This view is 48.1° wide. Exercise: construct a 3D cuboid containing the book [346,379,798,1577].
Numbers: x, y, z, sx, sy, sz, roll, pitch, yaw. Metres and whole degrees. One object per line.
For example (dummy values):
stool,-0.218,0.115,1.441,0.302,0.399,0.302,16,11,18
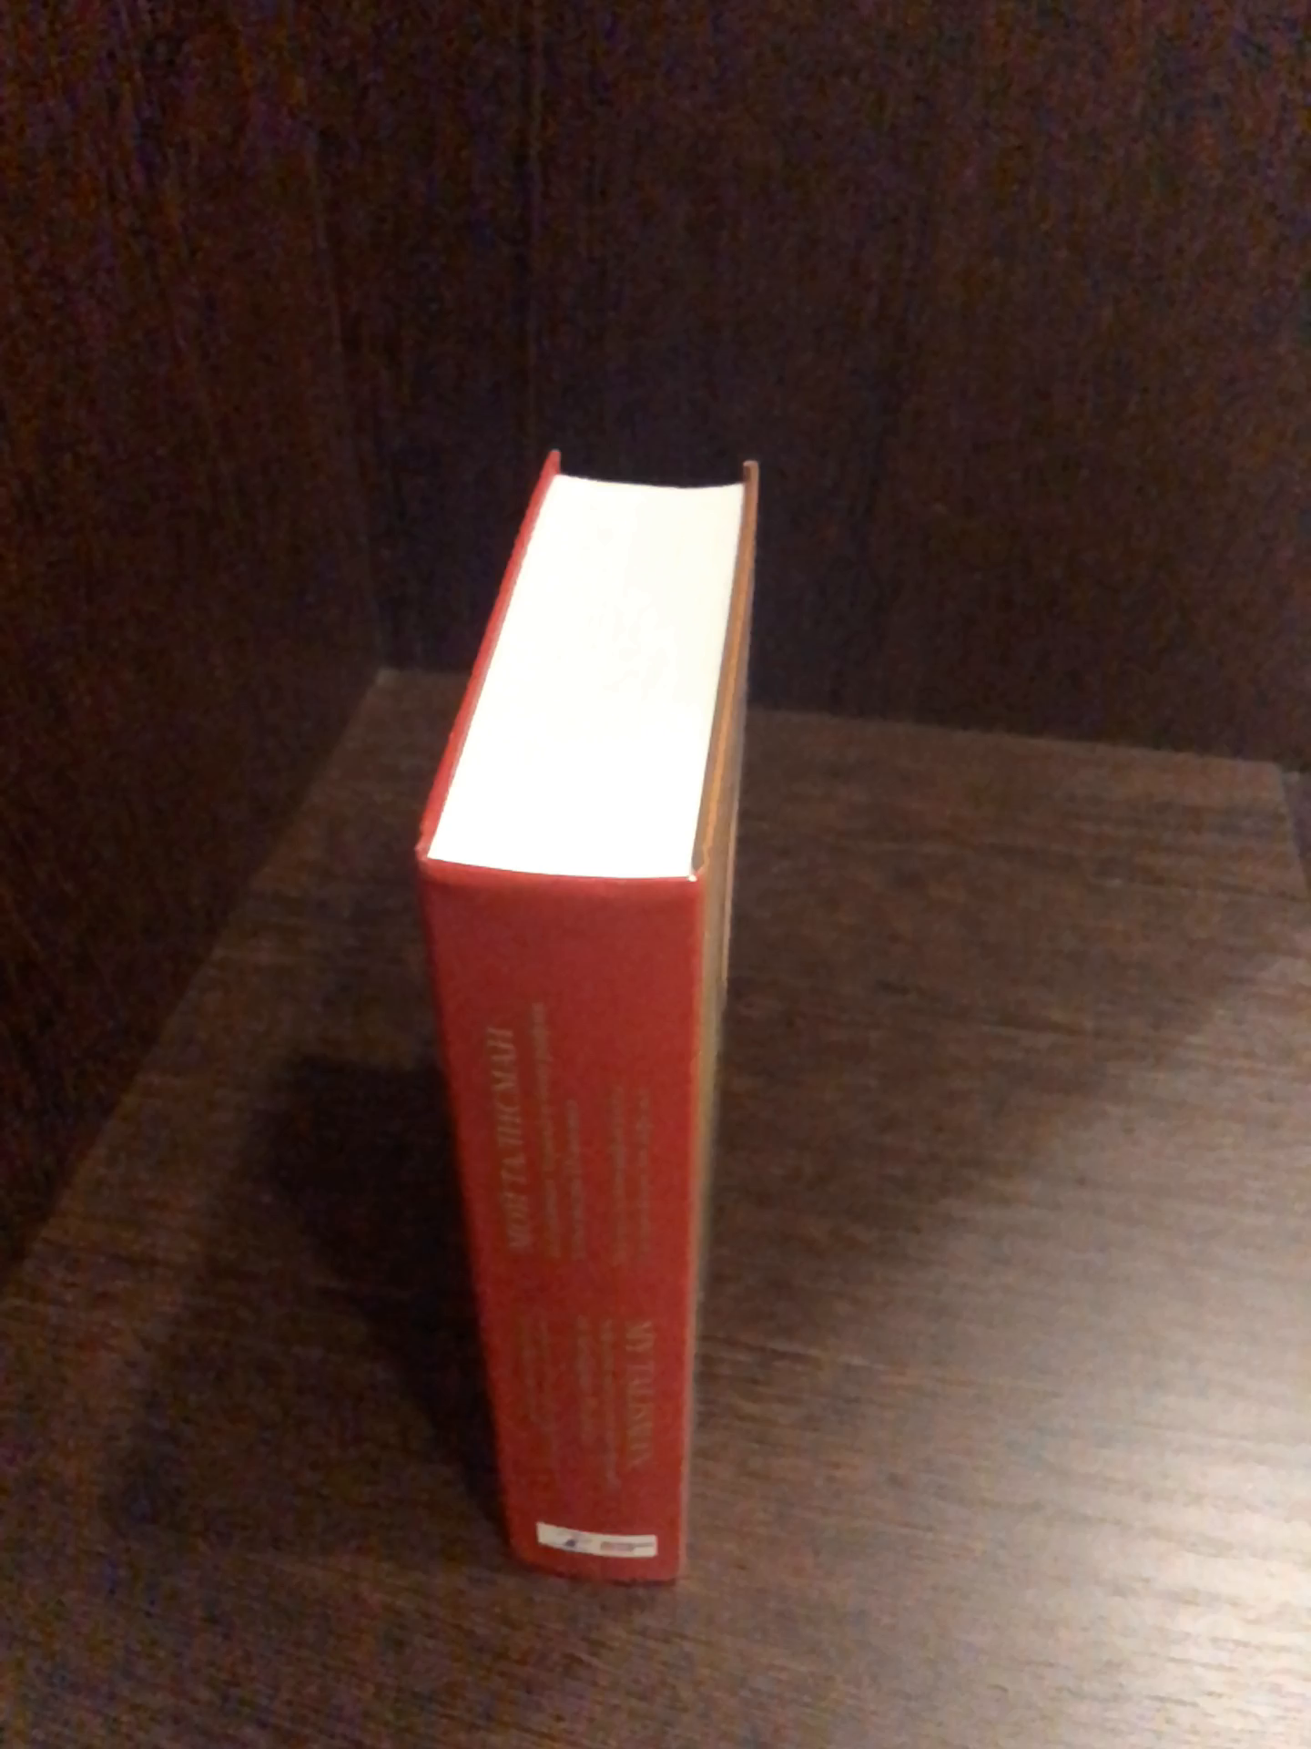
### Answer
book,-0.010,0.025,0.301,0.054,0.201,0.138,6,40,2
